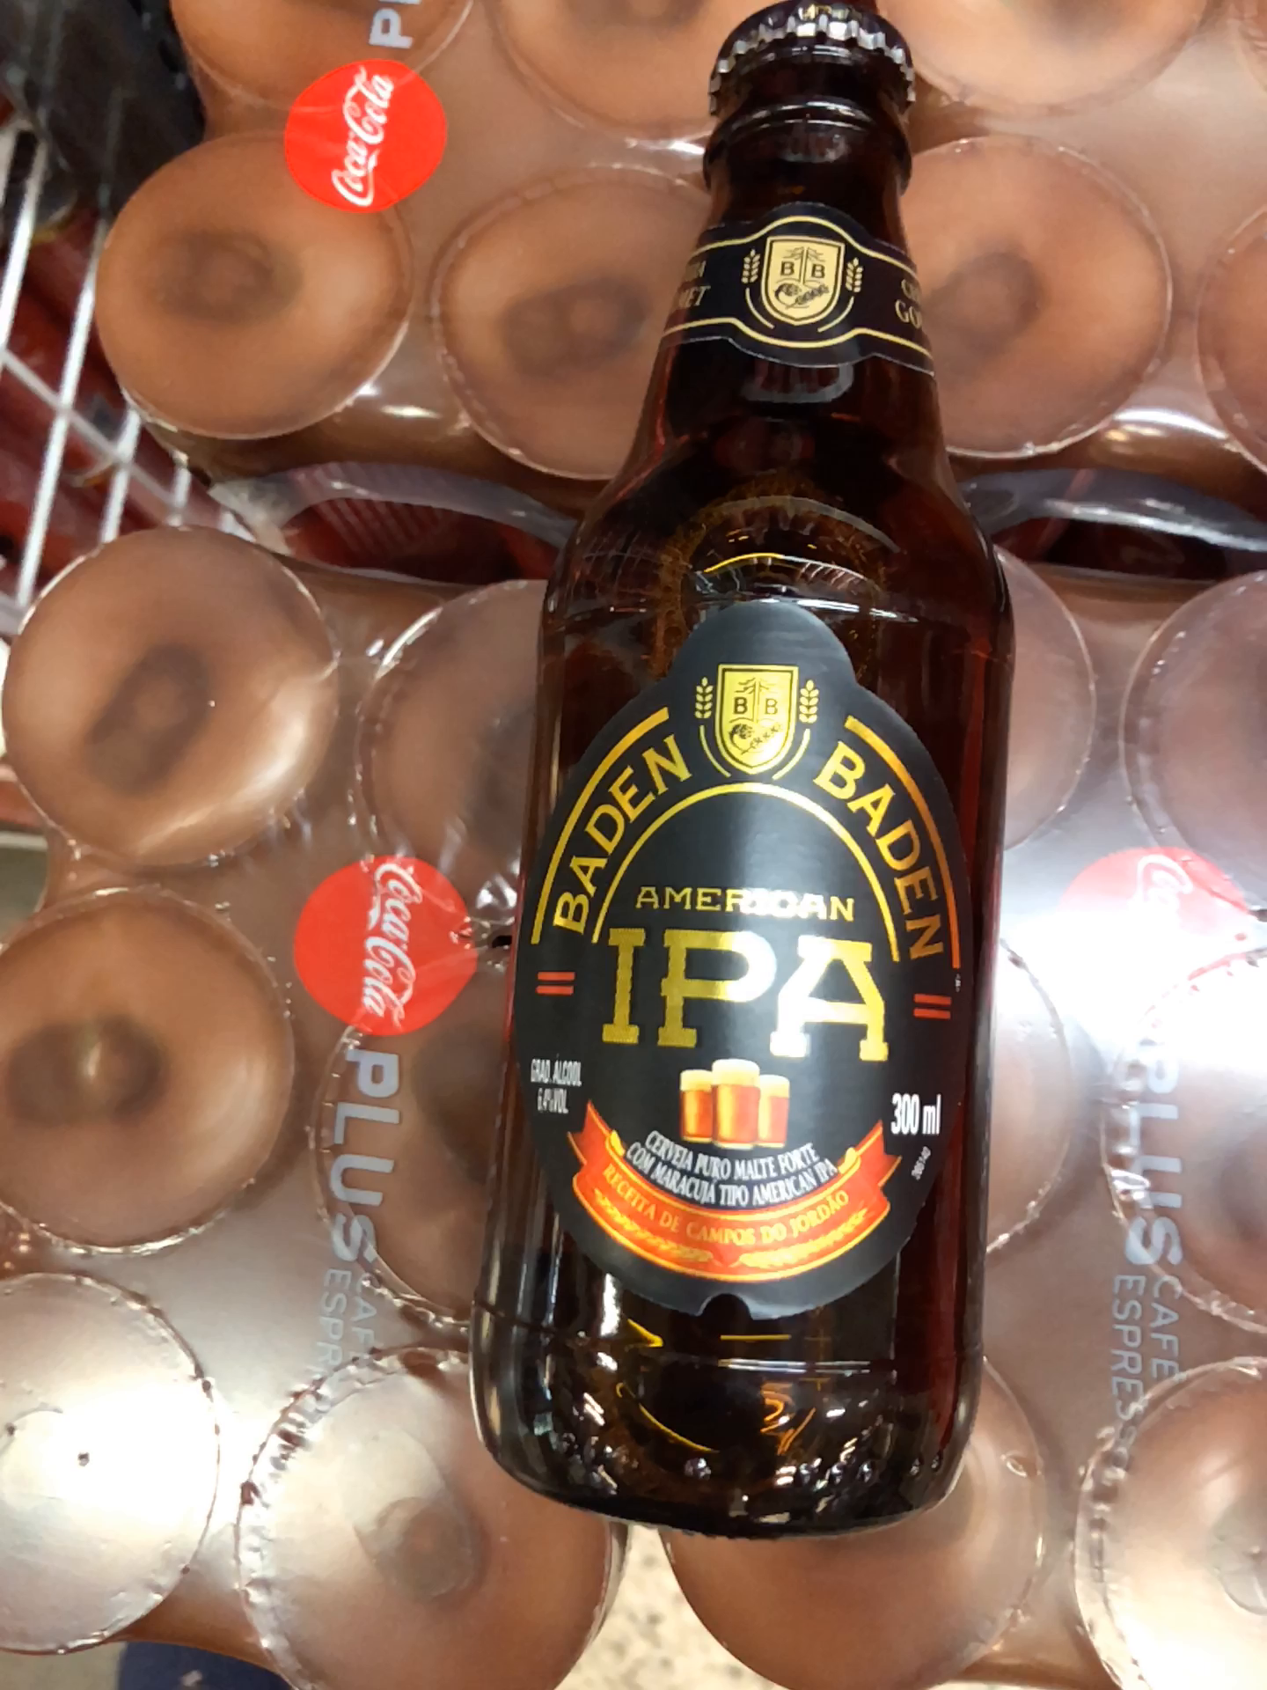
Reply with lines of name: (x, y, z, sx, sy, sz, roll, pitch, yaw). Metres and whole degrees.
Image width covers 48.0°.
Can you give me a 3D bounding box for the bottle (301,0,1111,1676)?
bottle: (0.013, -0.026, 0.173, 0.070, 0.050, 0.210, 4, 82, 5)
